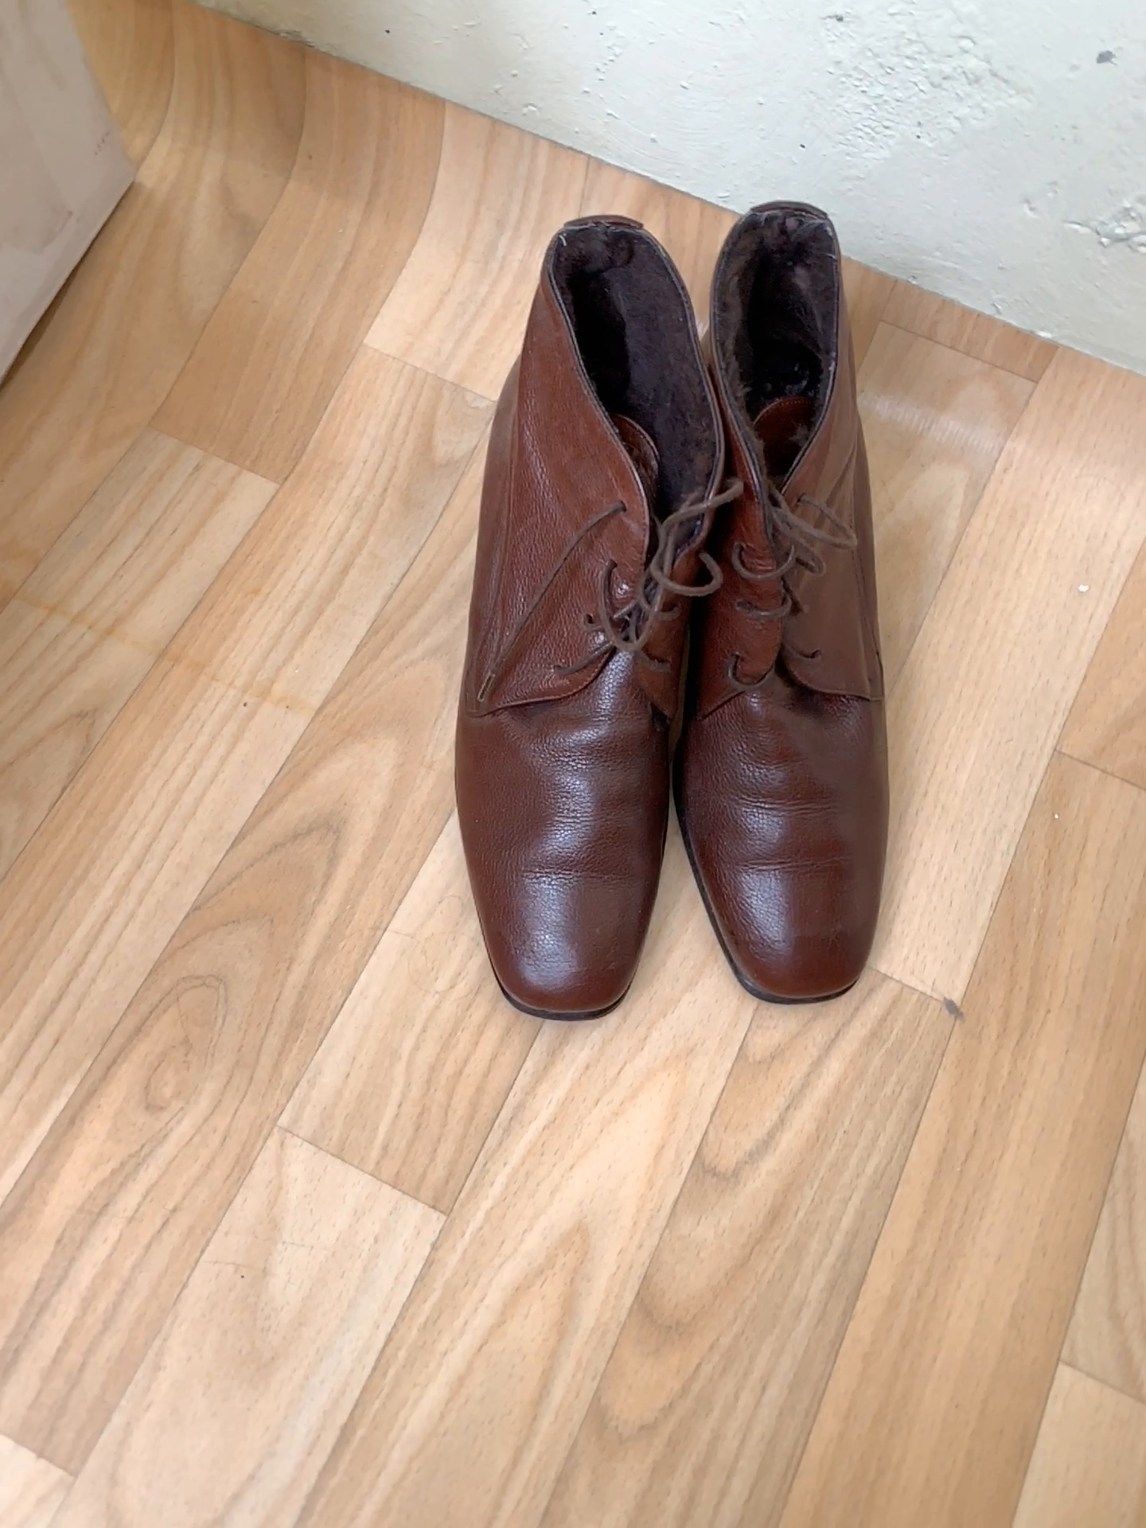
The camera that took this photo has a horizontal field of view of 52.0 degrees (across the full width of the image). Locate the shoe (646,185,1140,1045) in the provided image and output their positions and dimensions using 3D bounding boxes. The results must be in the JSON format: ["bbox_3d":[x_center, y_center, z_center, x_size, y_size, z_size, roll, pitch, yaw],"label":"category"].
[{"bbox_3d":[0.078,-0.036,0.368,0.080,0.150,0.220,-2,70,-3],"label":"shoe"}]

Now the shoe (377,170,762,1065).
[{"bbox_3d":[0.000,-0.032,0.353,0.080,0.150,0.220,2,70,-1],"label":"shoe"}]
